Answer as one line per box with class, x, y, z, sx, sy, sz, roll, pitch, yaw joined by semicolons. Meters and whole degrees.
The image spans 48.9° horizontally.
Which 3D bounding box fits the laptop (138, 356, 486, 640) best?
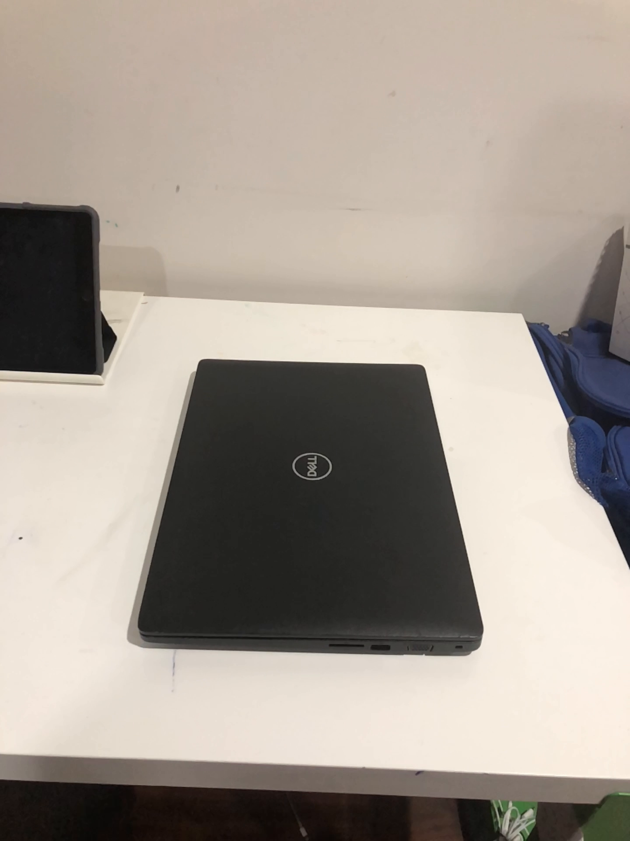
laptop;-0.002;0.042;0.610;0.241;0.010;0.334;0;39;1
